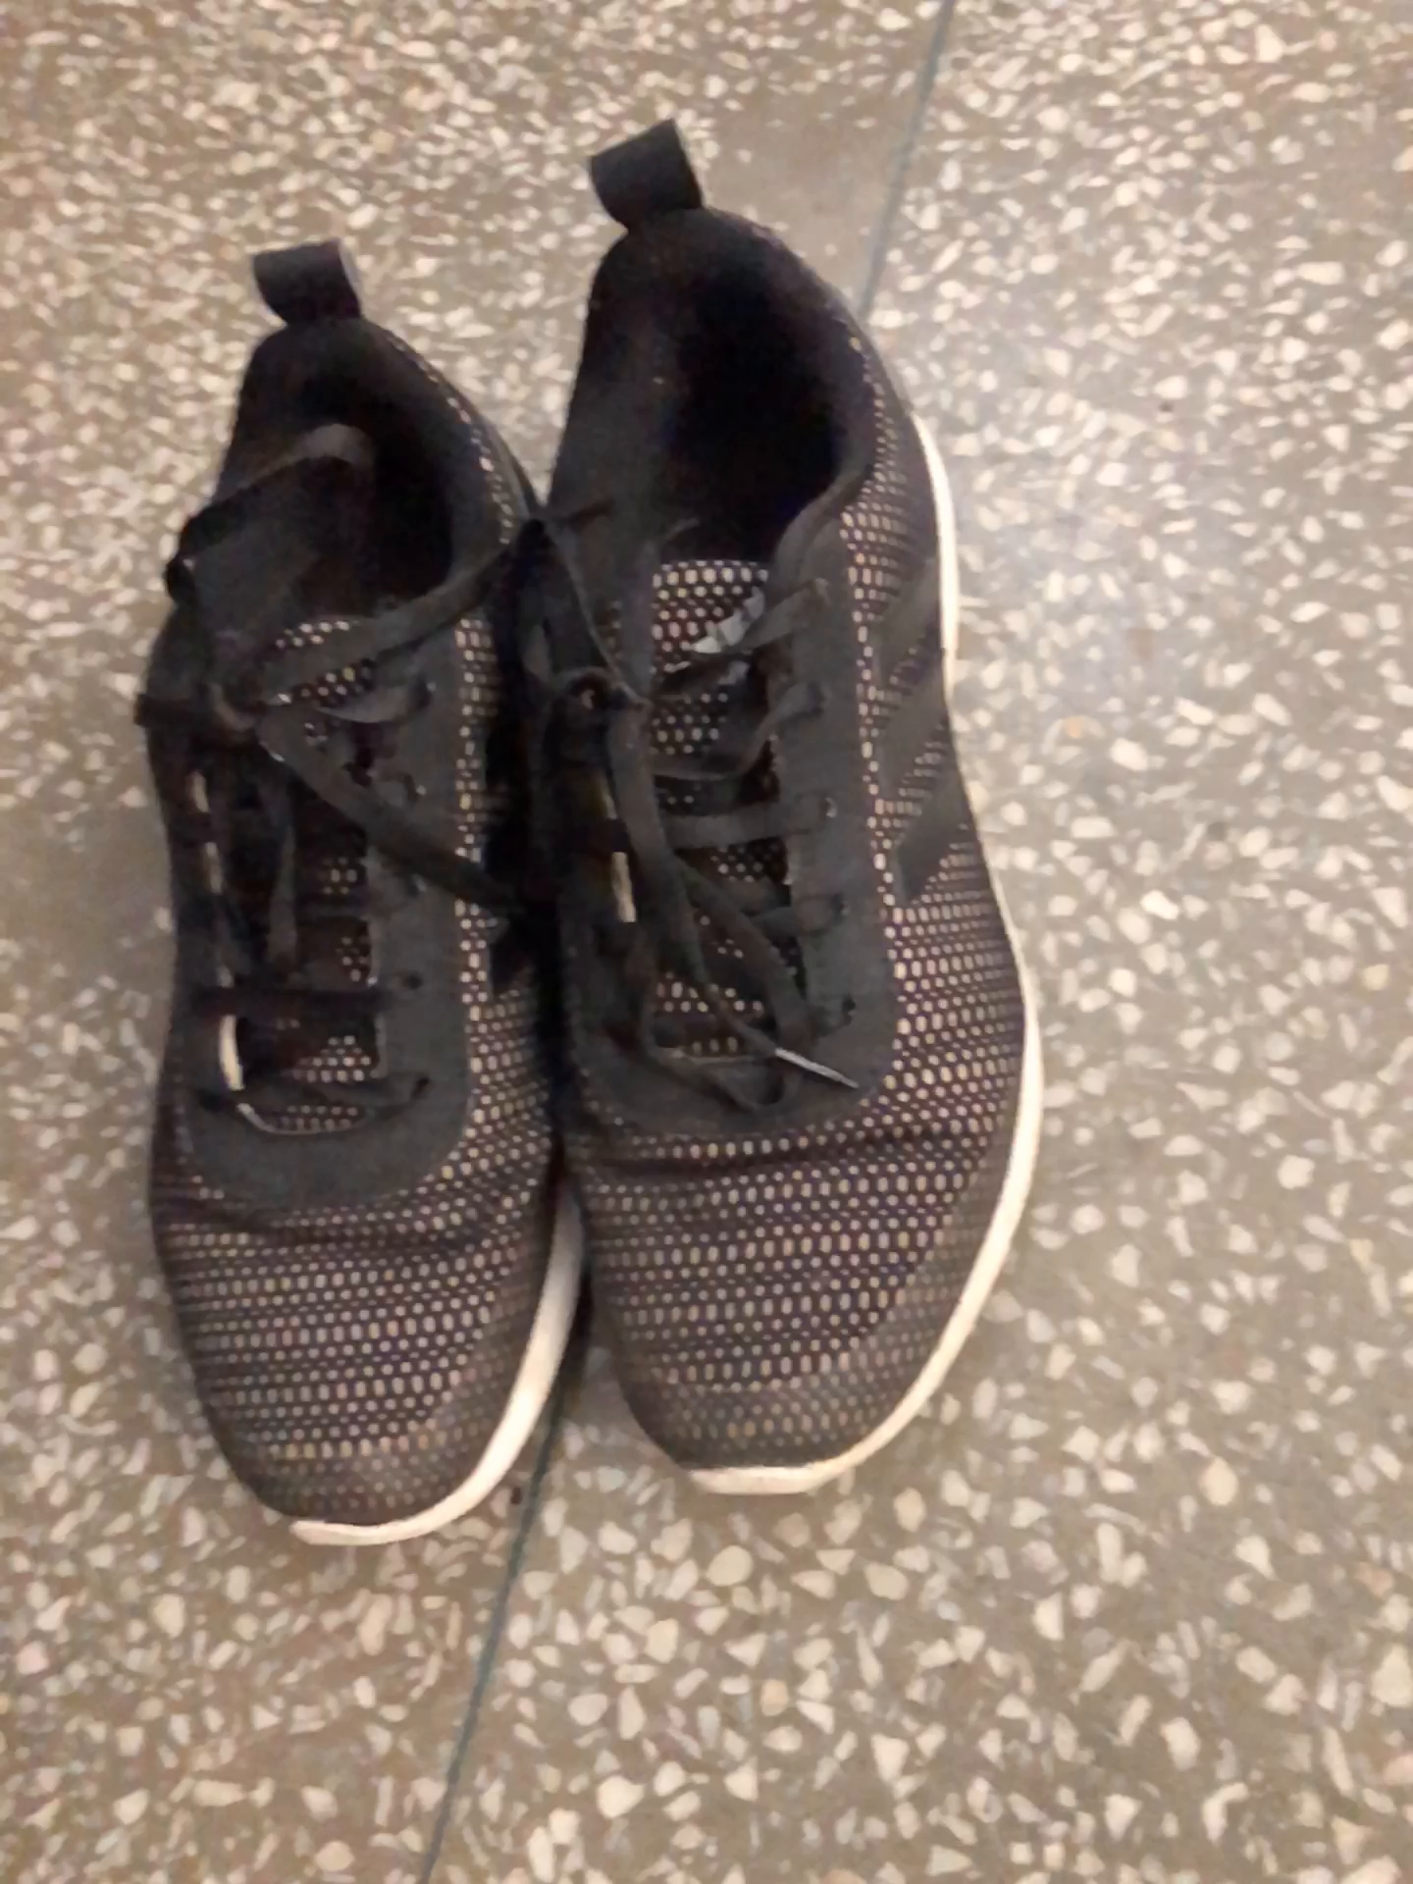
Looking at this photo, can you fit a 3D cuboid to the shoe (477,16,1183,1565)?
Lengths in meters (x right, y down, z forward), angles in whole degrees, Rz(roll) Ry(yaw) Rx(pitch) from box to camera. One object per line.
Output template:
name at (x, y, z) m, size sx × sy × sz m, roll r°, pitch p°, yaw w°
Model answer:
shoe at (0.023, -0.029, 0.300) m, size 0.100 × 0.080 × 0.270 m, roll -4°, pitch 71°, yaw 12°

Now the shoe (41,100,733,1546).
shoe at (-0.059, -0.026, 0.332) m, size 0.100 × 0.080 × 0.280 m, roll -7°, pitch 71°, yaw 12°
